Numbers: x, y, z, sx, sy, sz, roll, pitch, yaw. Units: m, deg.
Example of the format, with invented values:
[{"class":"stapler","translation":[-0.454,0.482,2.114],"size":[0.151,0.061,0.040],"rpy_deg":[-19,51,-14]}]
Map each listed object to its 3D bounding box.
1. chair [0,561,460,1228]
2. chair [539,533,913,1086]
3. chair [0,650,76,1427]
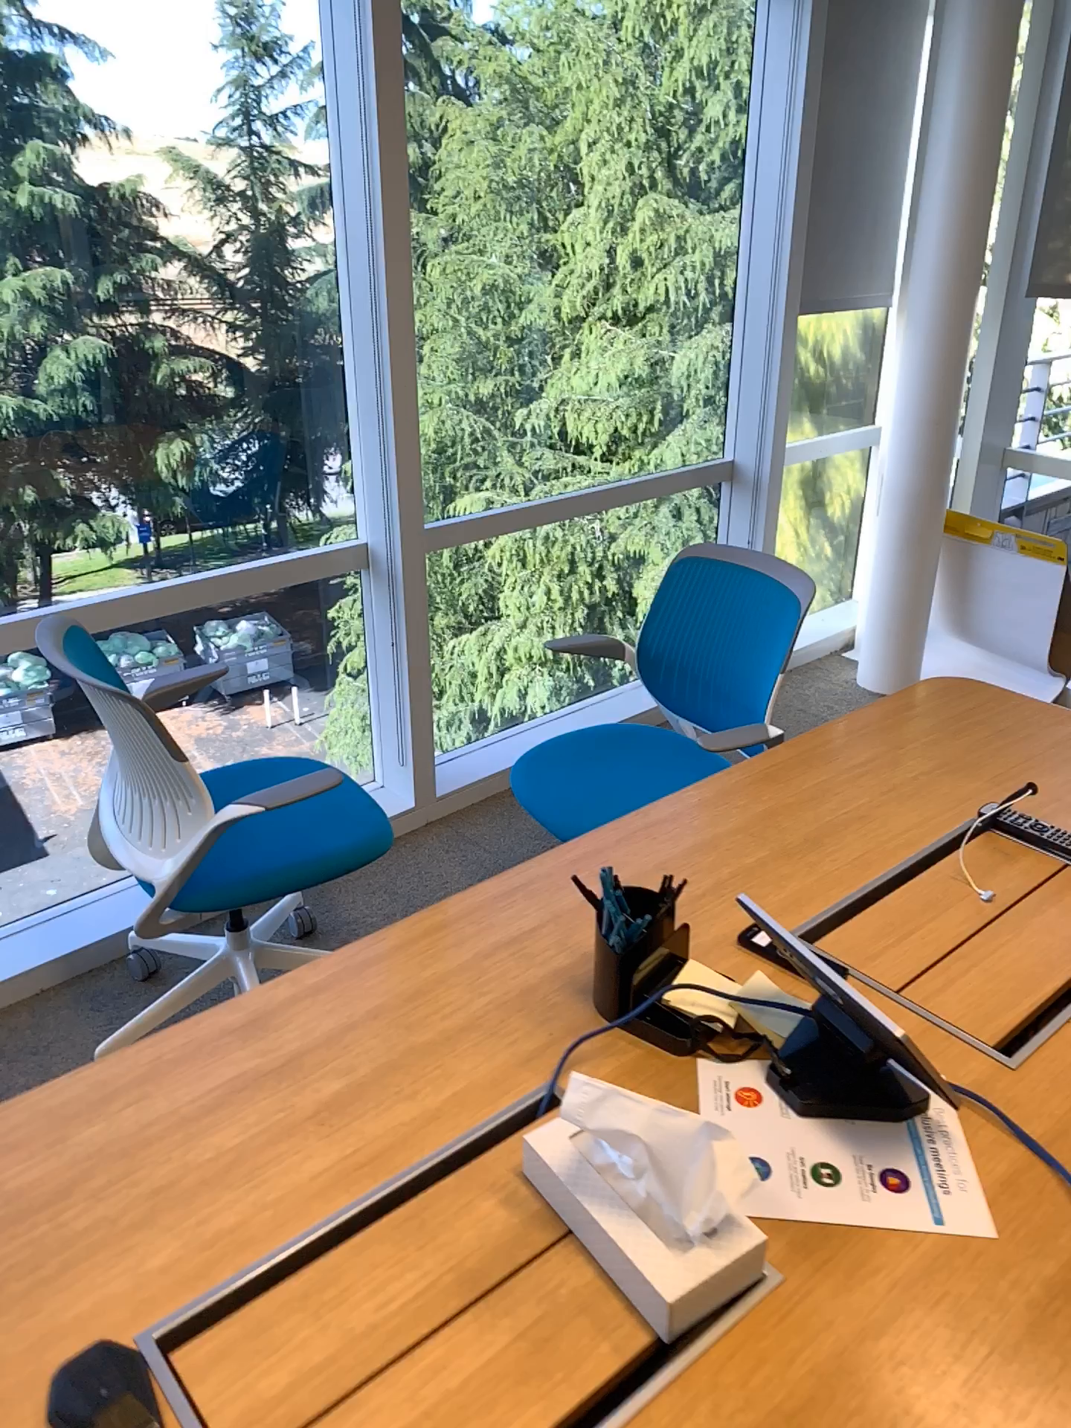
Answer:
[{"class":"chair","translation":[-0.625,0.312,2.259],"size":[0.641,1.014,0.653],"rpy_deg":[-22,33,-40]},{"class":"chair","translation":[0.424,0.200,2.686],"size":[0.630,1.094,0.543],"rpy_deg":[-16,30,-32]},{"class":"chair","translation":[-1.500,0.622,1.941],"size":[0.873,1.134,0.732],"rpy_deg":[16,29,31]}]
